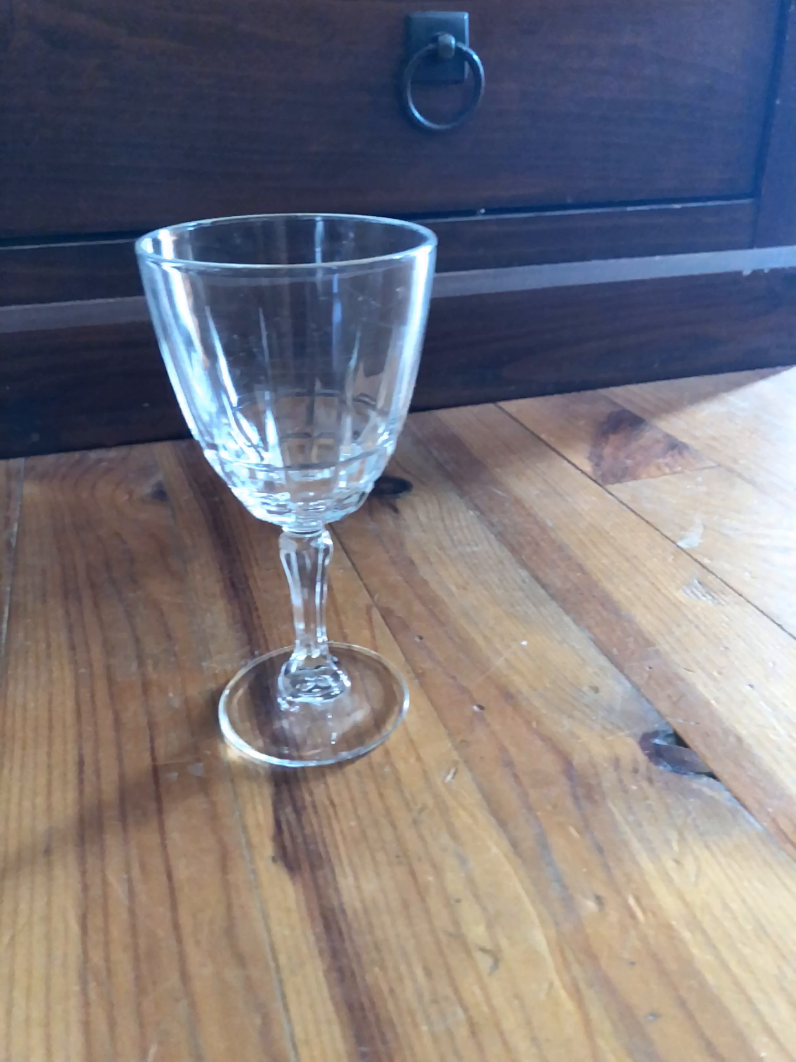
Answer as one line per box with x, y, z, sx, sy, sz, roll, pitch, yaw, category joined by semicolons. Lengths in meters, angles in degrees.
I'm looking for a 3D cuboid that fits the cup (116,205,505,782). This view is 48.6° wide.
-0.027;-0.015;0.259;0.085;0.141;0.084;1;27;0;cup
